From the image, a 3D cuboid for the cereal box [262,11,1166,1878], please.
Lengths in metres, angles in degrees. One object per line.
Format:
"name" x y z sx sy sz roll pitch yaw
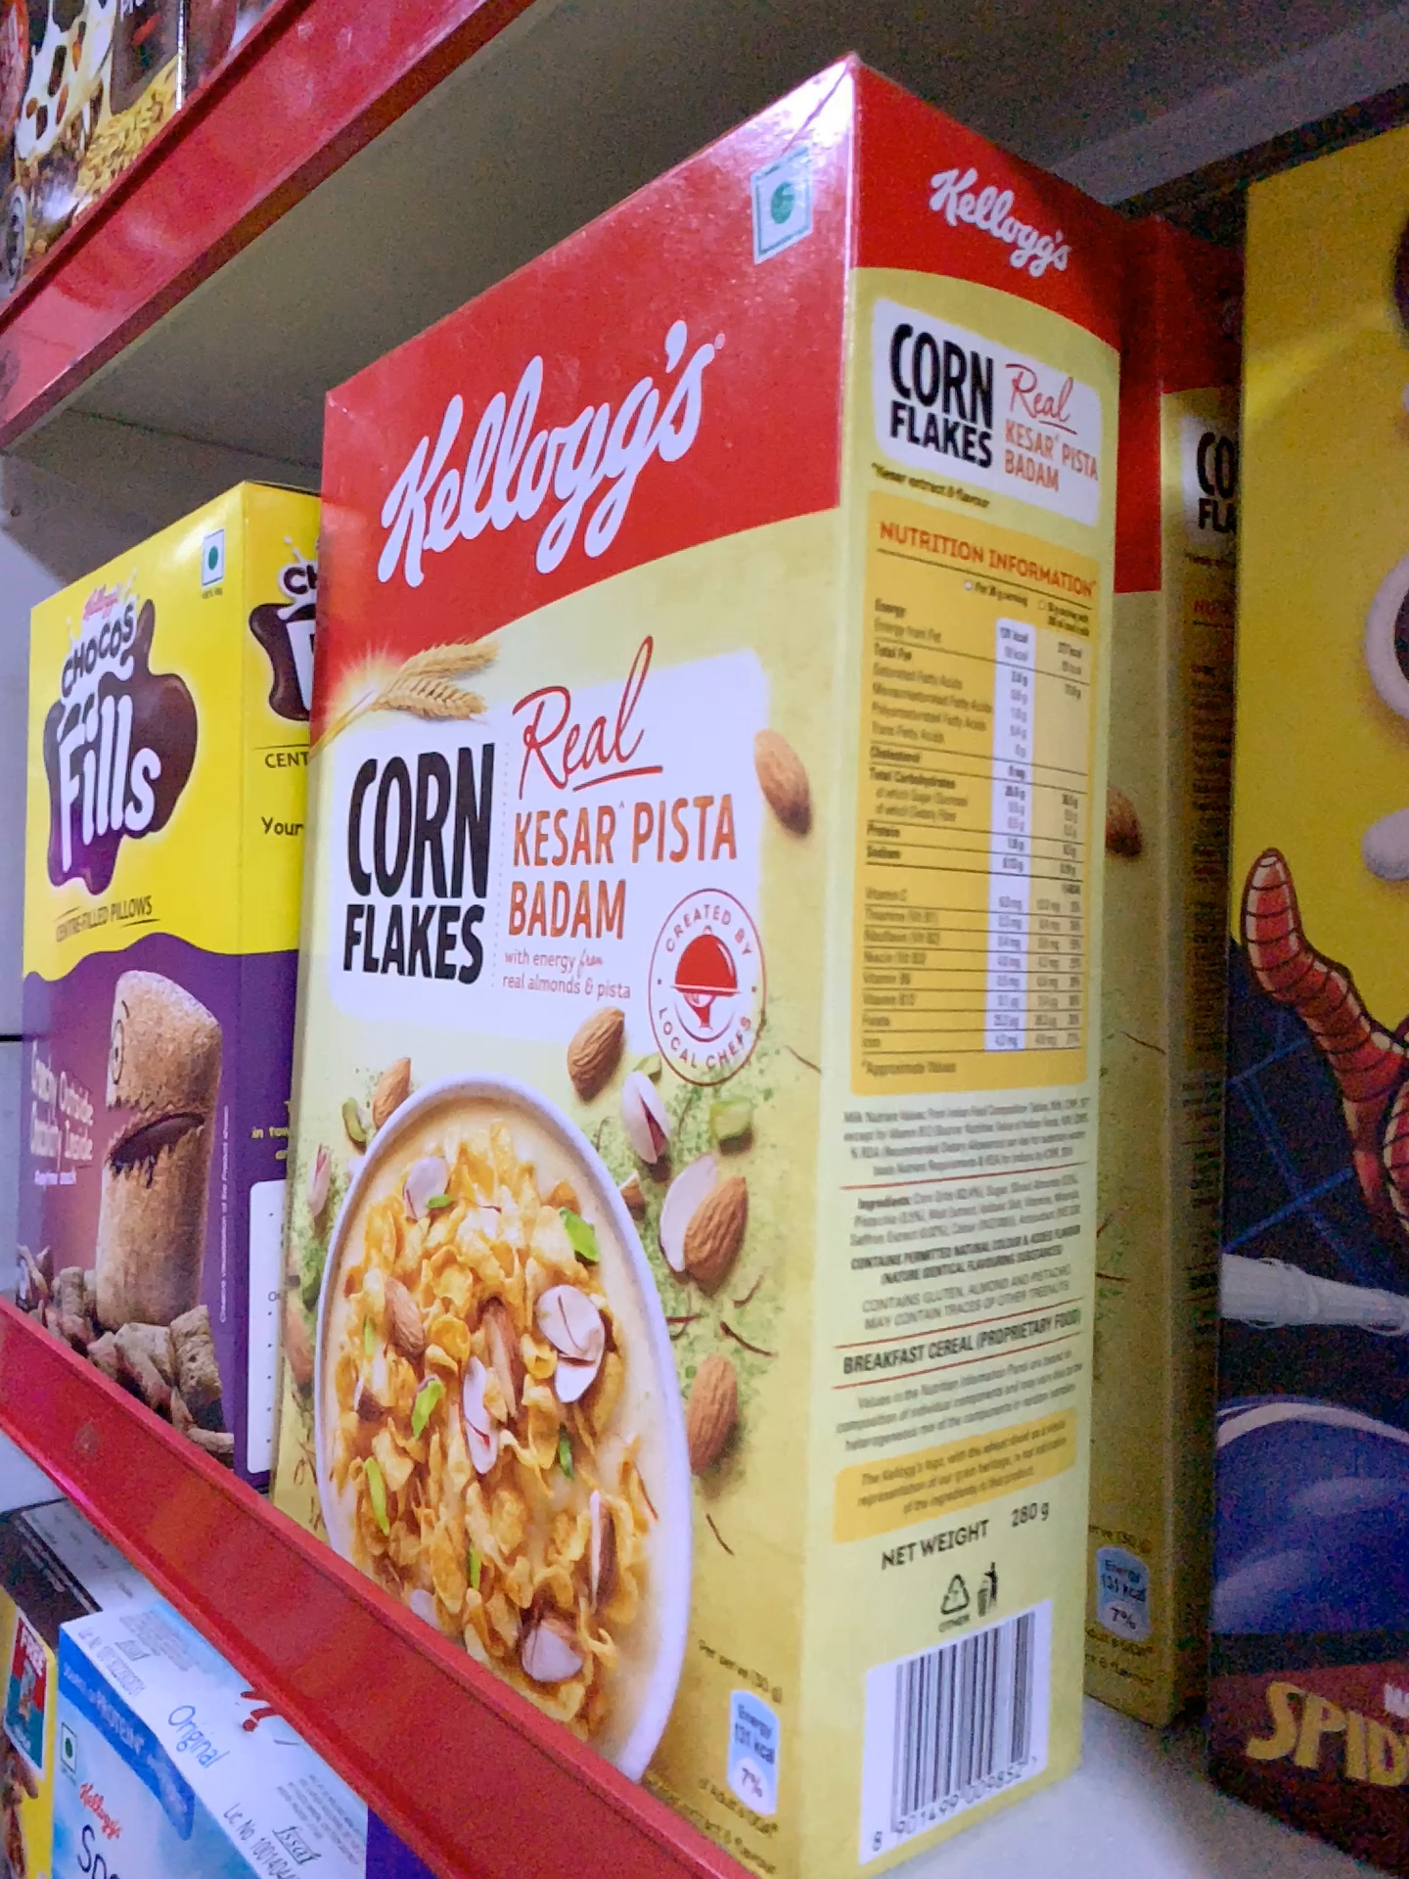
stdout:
"cereal box" -0.013 0.005 0.278 0.070 0.250 0.180 2 0 -38
